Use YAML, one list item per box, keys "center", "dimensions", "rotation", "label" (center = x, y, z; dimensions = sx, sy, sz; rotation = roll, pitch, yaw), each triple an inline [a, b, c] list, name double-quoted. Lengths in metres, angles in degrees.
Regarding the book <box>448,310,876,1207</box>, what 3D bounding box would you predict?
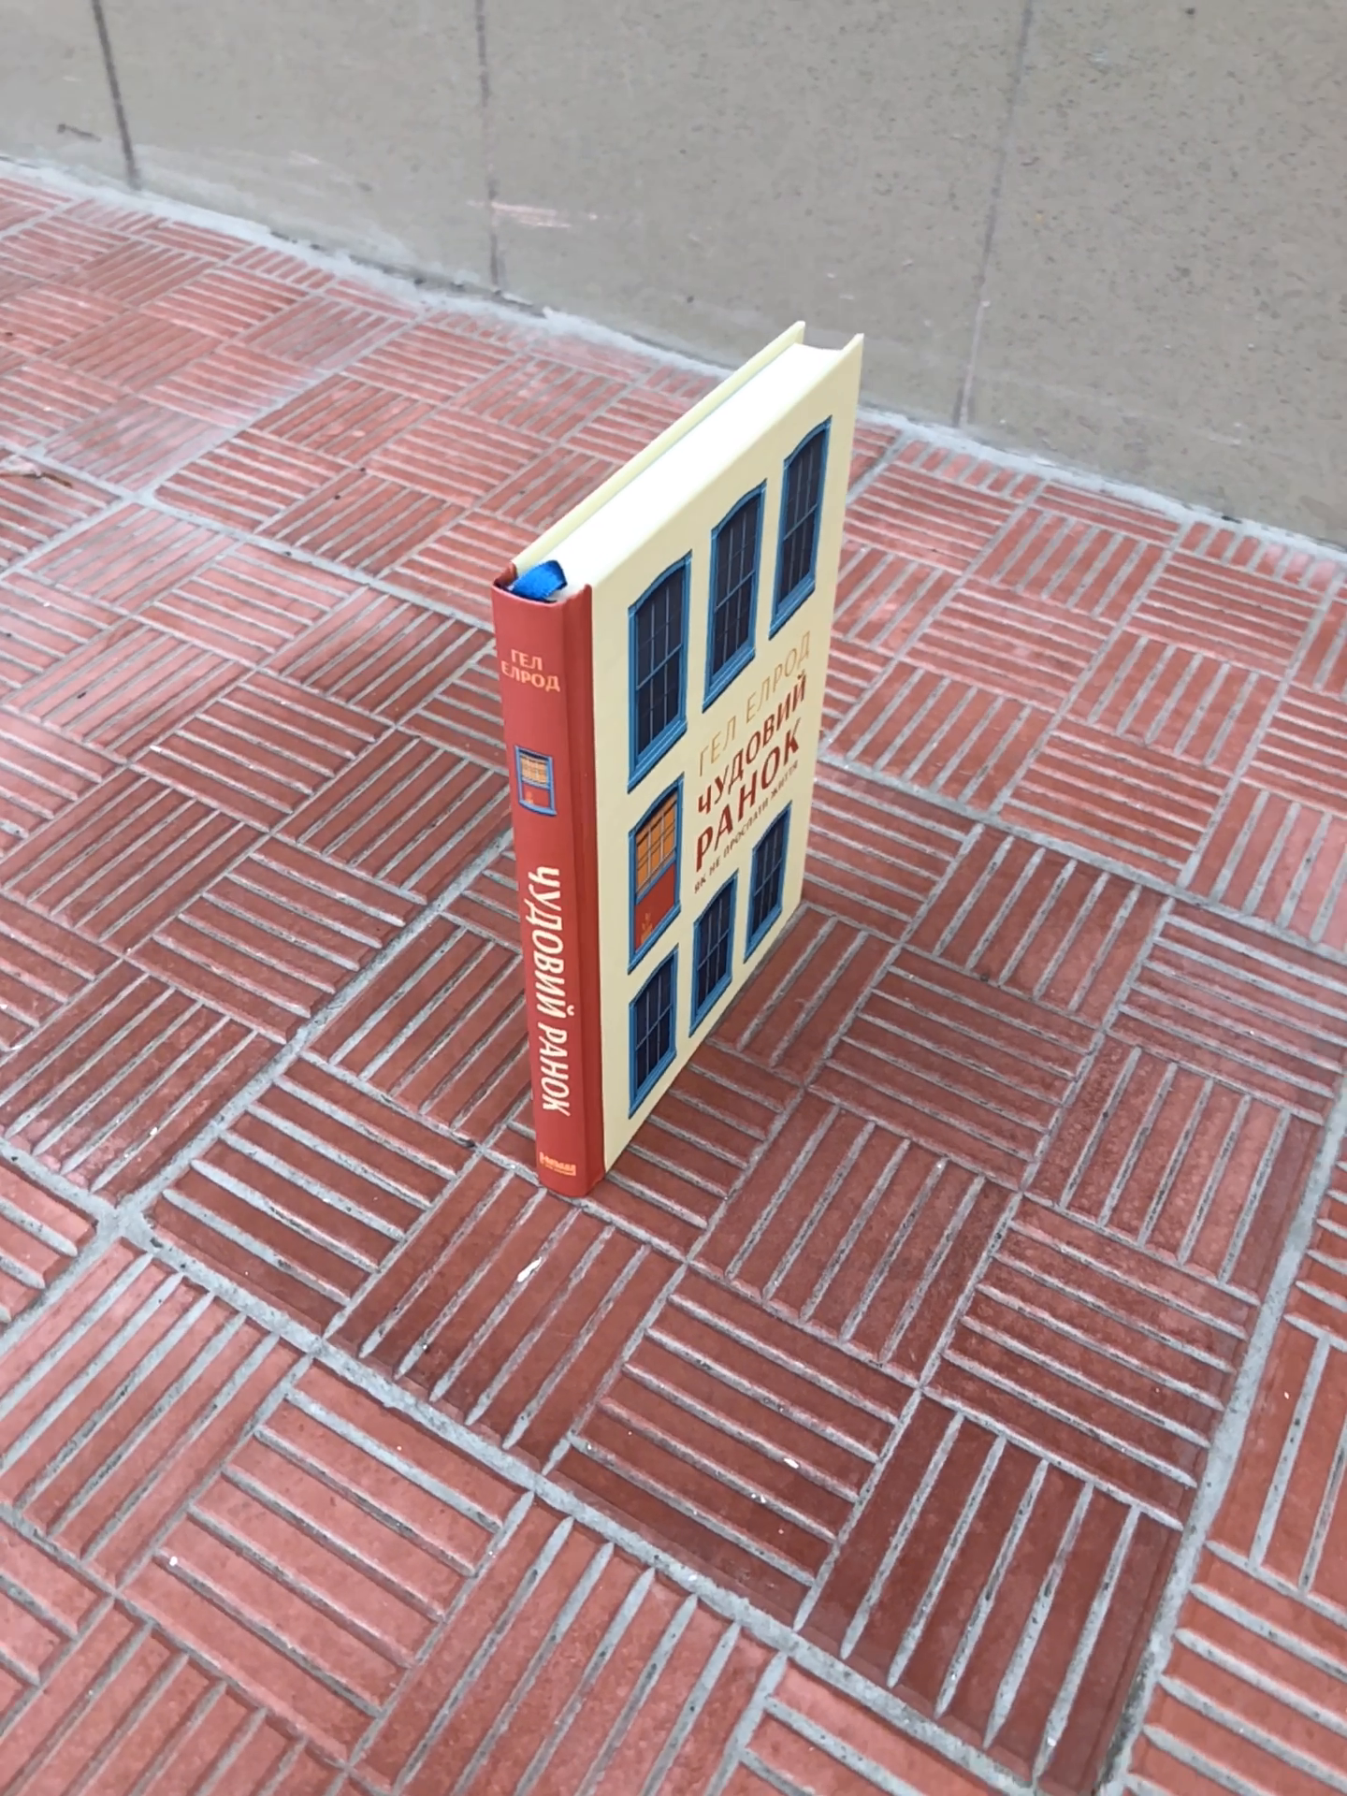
- center: [0.003, -0.031, 0.396]
  dimensions: [0.025, 0.196, 0.145]
  rotation: [22, 49, 20]
  label: "book"
